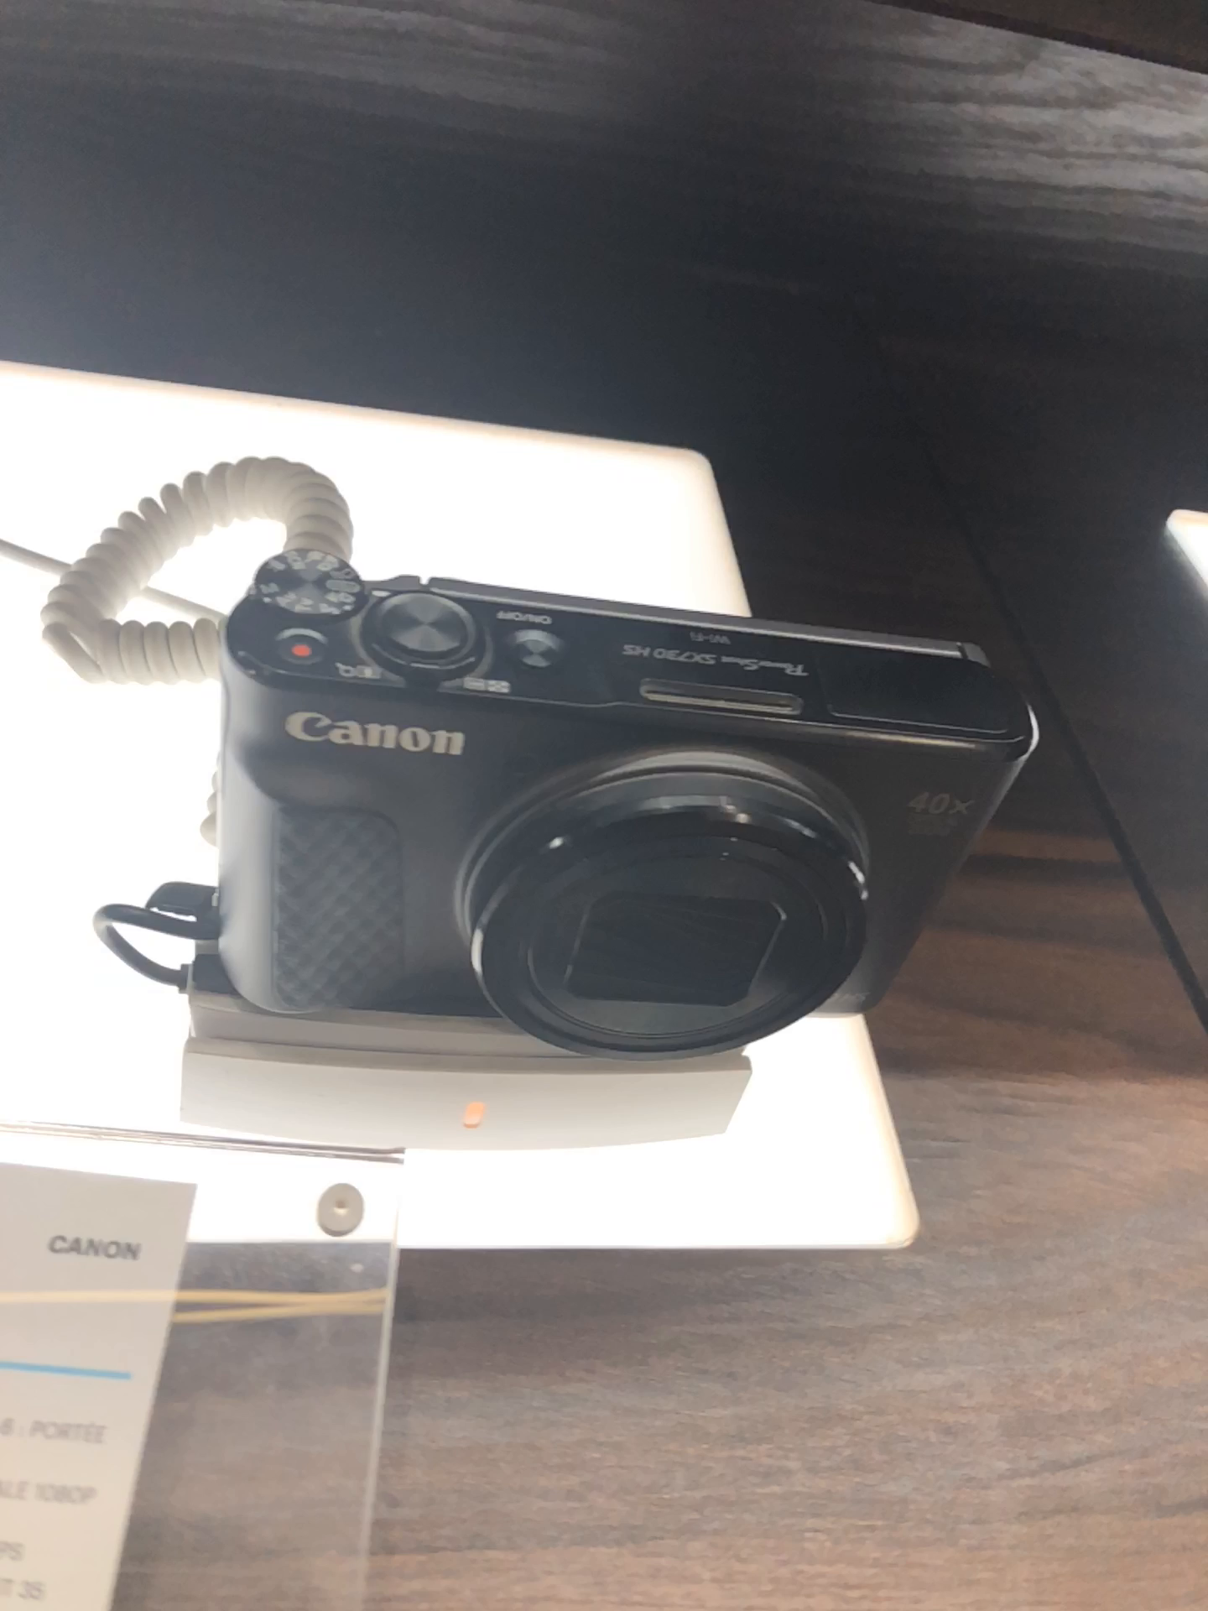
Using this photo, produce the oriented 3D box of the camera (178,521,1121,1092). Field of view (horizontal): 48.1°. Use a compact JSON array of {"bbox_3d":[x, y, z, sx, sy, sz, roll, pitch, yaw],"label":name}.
[{"bbox_3d":[0.001,0.005,0.195,0.114,0.069,0.035,5,44,-12],"label":"camera"}]
